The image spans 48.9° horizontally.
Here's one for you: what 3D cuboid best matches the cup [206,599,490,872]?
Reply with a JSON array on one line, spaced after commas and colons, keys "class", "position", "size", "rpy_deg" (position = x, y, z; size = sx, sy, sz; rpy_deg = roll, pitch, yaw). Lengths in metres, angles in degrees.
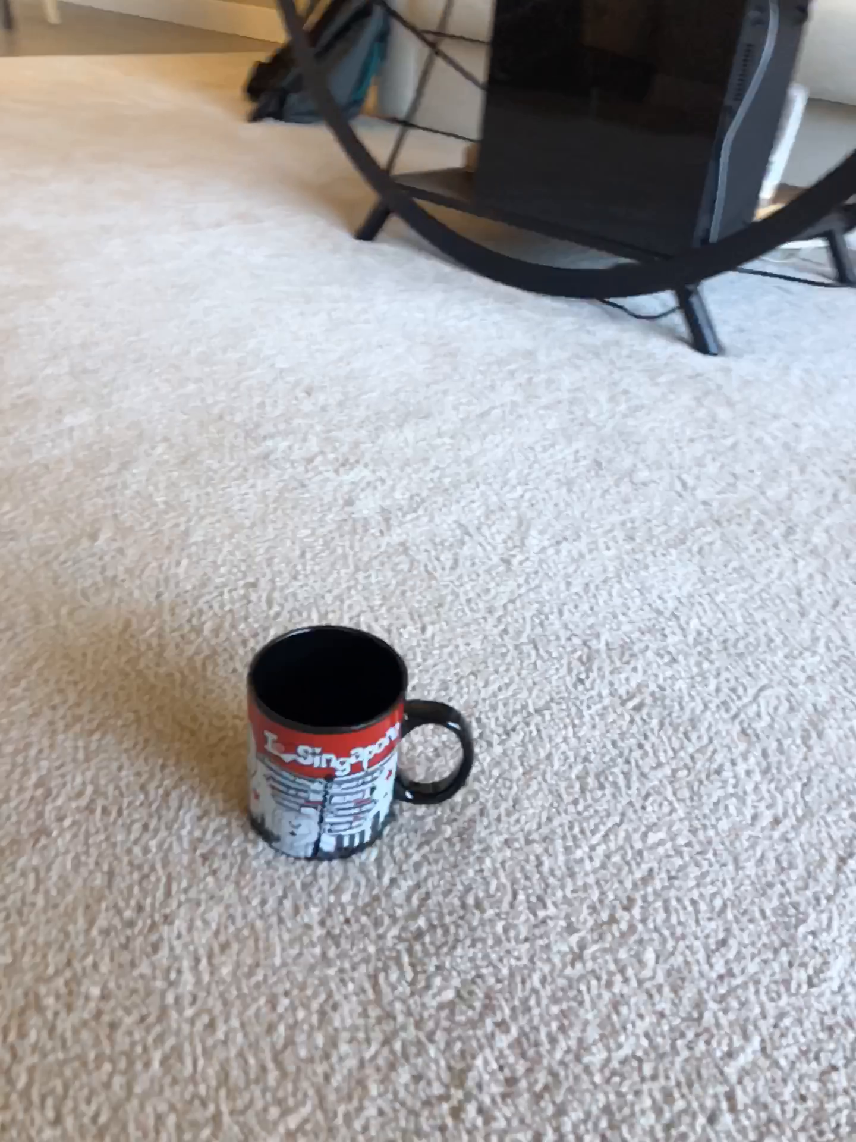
[{"class": "cup", "position": [-0.038, 0.084, 0.496], "size": [0.130, 0.090, 0.090], "rpy_deg": [6, 33, 1]}]
